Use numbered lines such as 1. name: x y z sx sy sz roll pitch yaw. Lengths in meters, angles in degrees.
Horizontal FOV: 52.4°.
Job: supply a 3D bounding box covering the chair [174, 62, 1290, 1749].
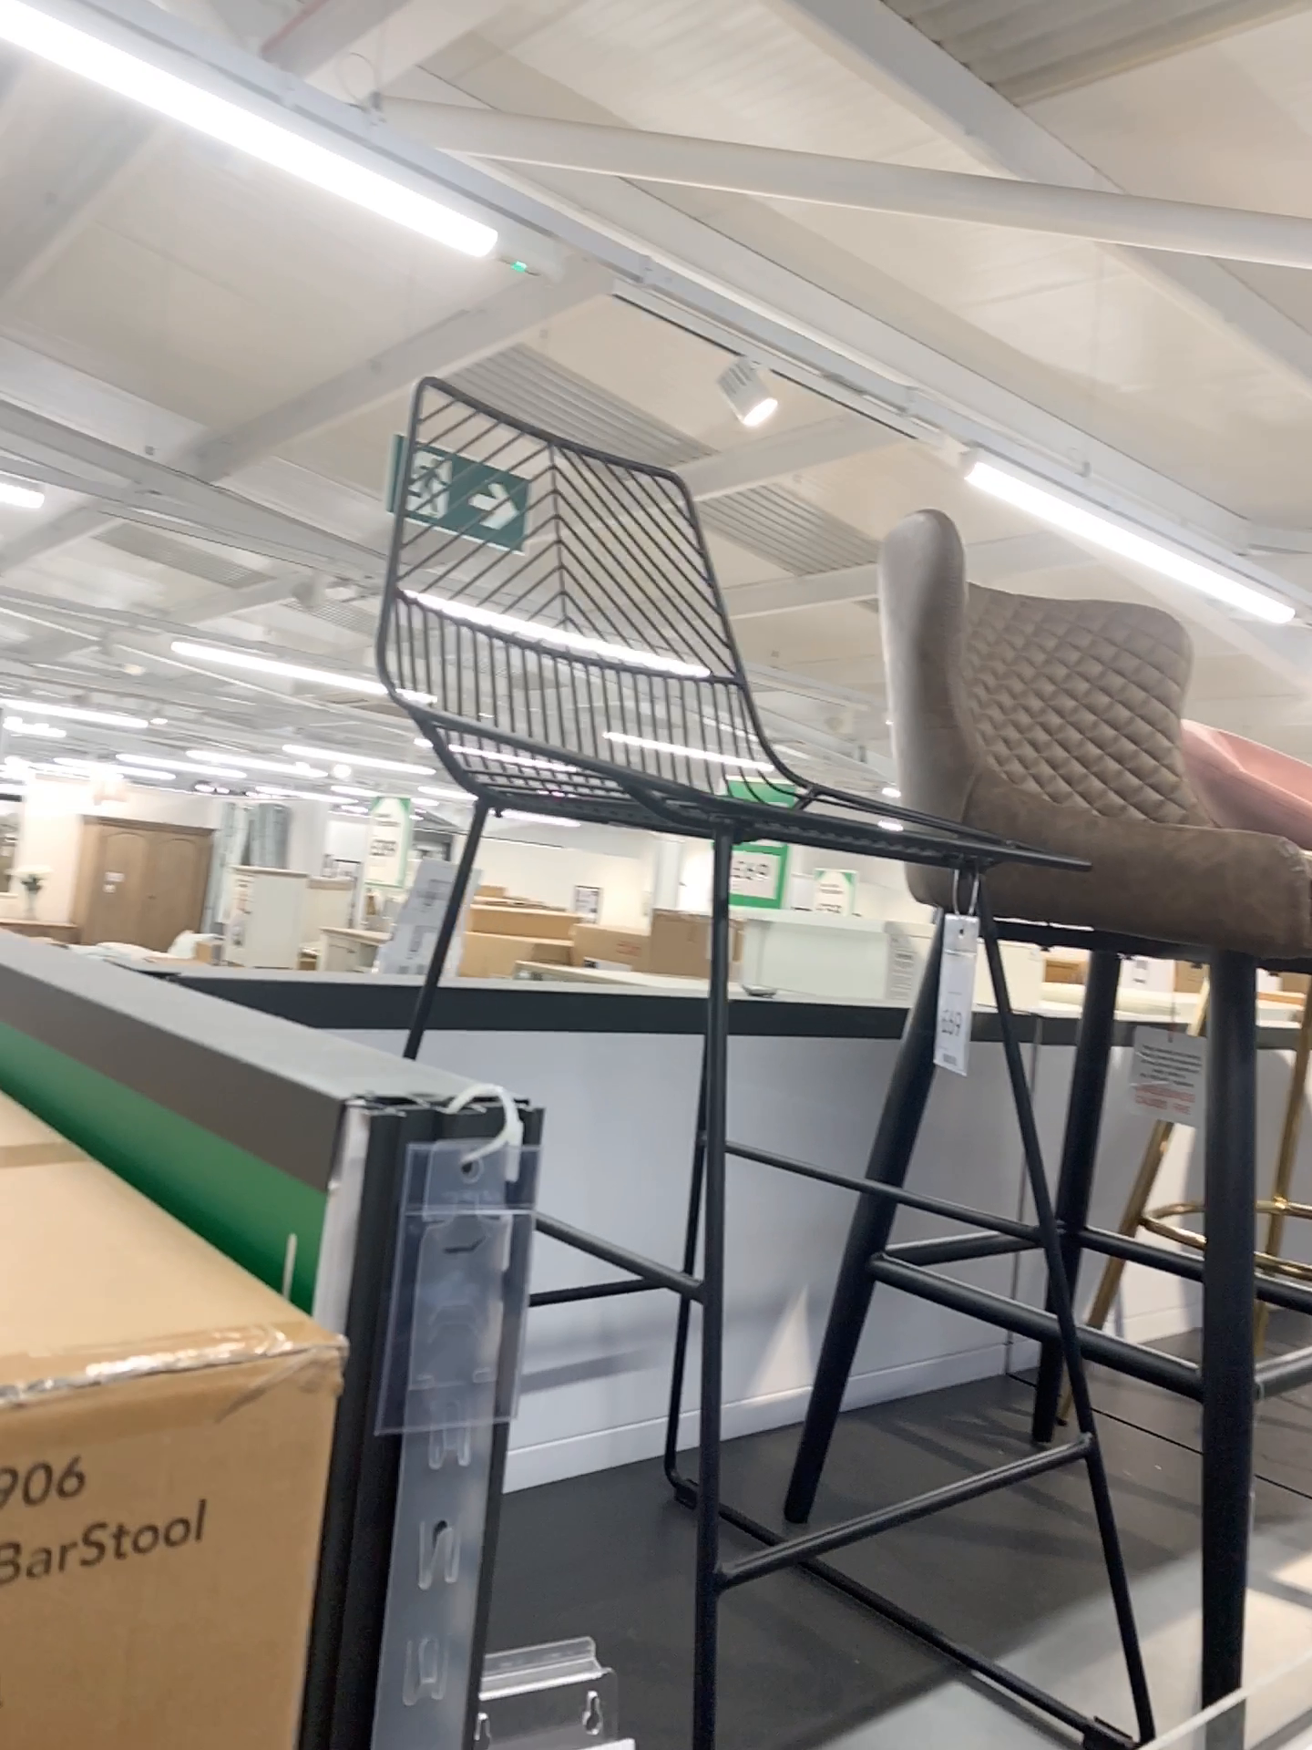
1. chair: 0.052 0.093 0.992 0.504 0.965 0.530 8 -3 -41
